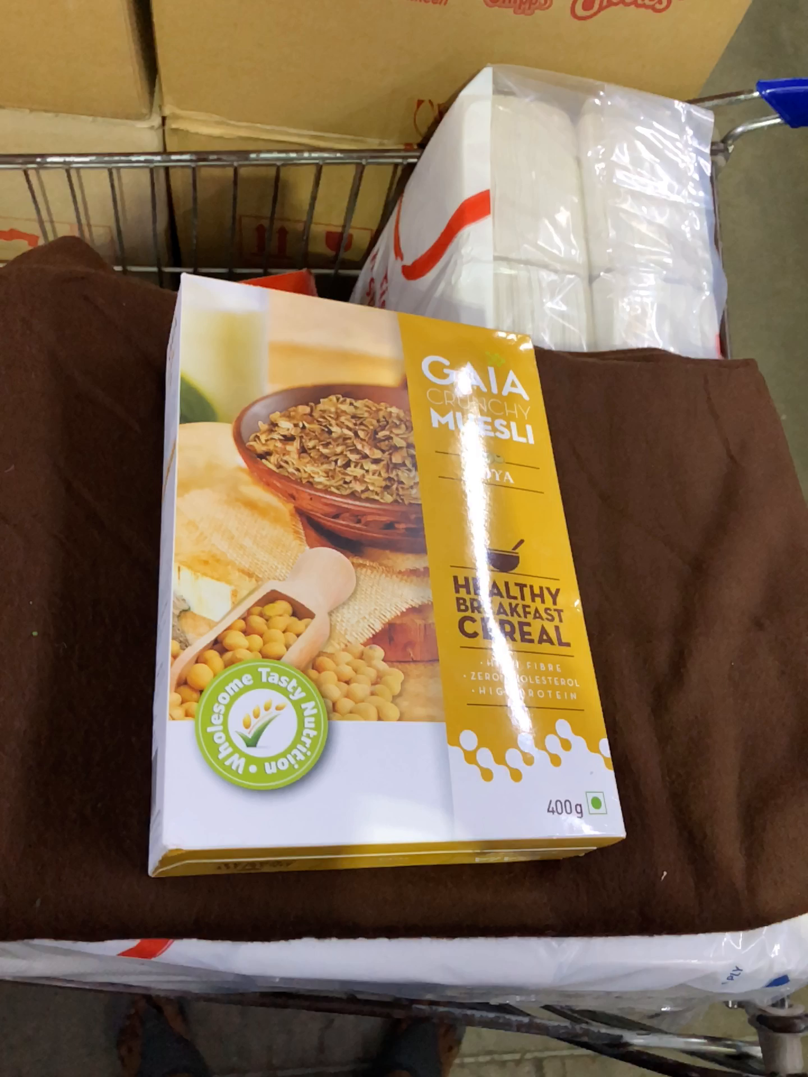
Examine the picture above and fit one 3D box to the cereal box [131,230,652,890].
[{"bbox_3d":[-0.012,0.005,0.360,0.170,0.060,0.241,5,63,-20],"label":"cereal box"}]
